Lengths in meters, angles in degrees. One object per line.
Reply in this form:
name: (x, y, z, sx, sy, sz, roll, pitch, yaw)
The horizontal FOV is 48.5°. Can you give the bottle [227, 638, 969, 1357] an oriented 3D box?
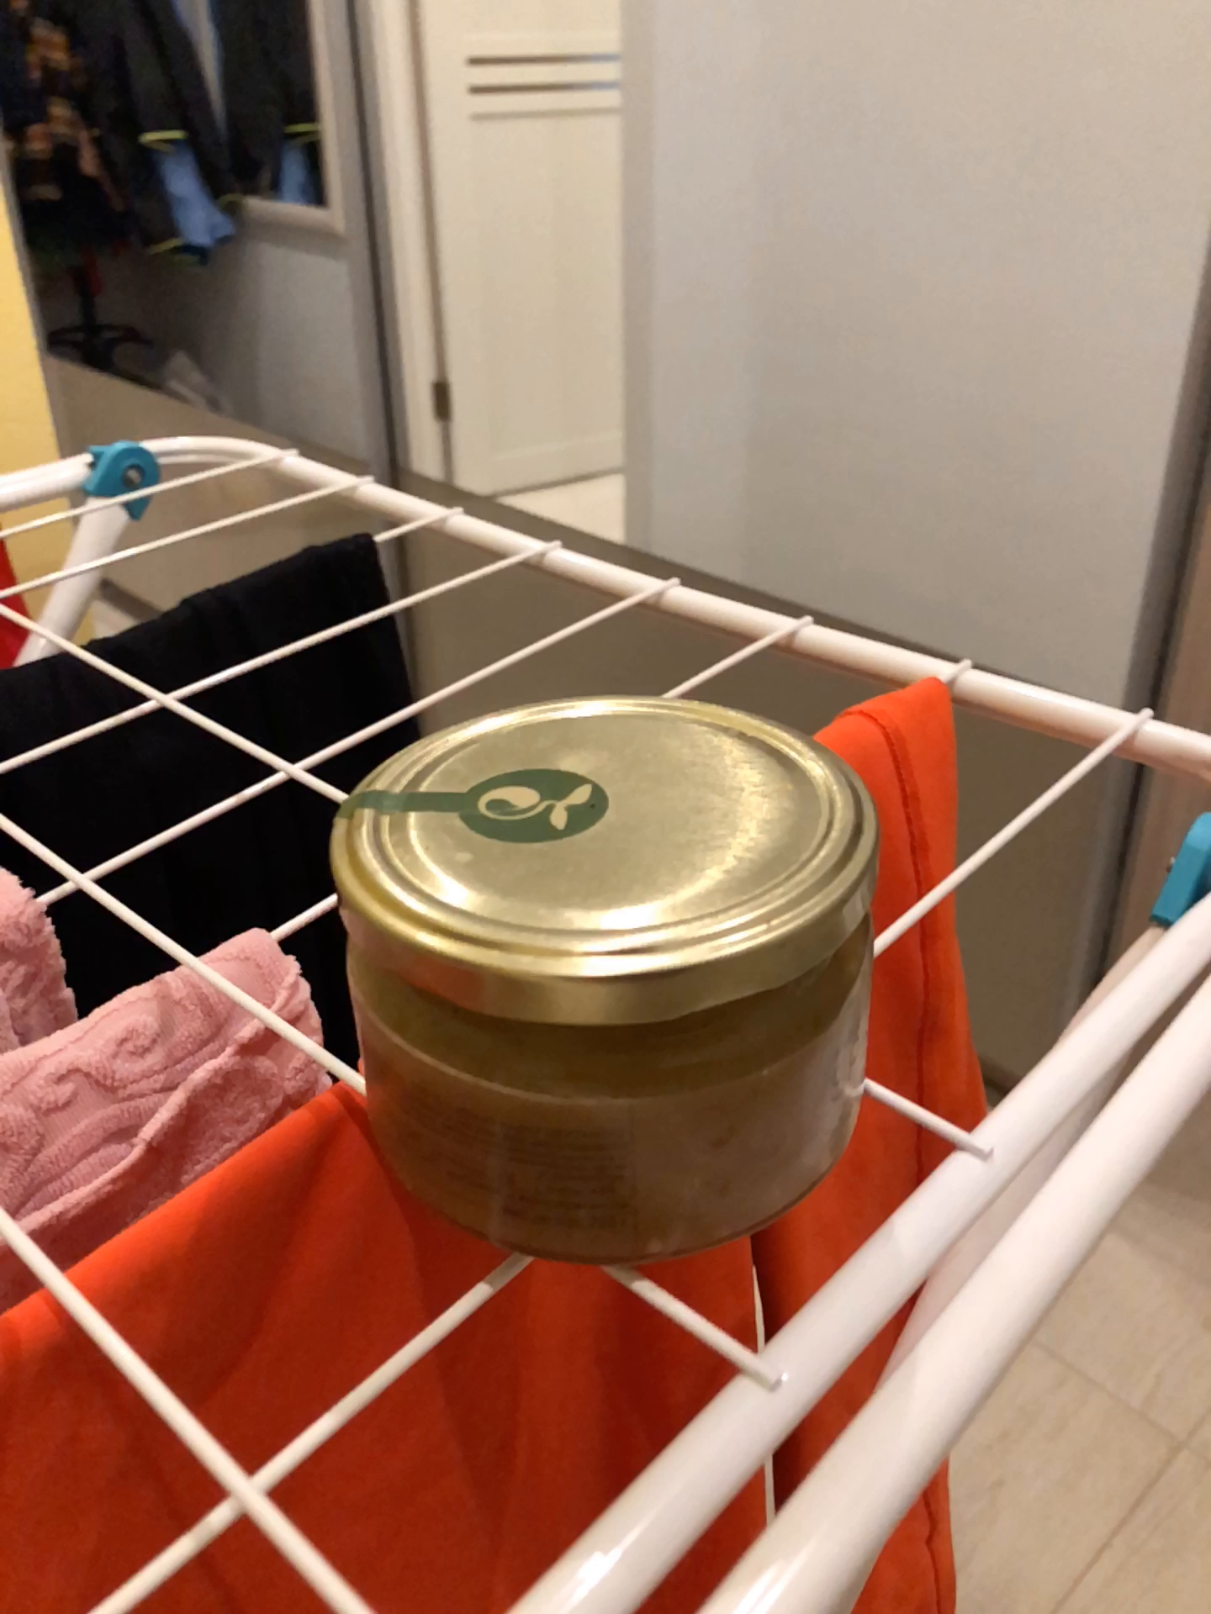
bottle: (0.007, 0.021, 0.217, 0.090, 0.060, 0.091, -1, 29, 0)
